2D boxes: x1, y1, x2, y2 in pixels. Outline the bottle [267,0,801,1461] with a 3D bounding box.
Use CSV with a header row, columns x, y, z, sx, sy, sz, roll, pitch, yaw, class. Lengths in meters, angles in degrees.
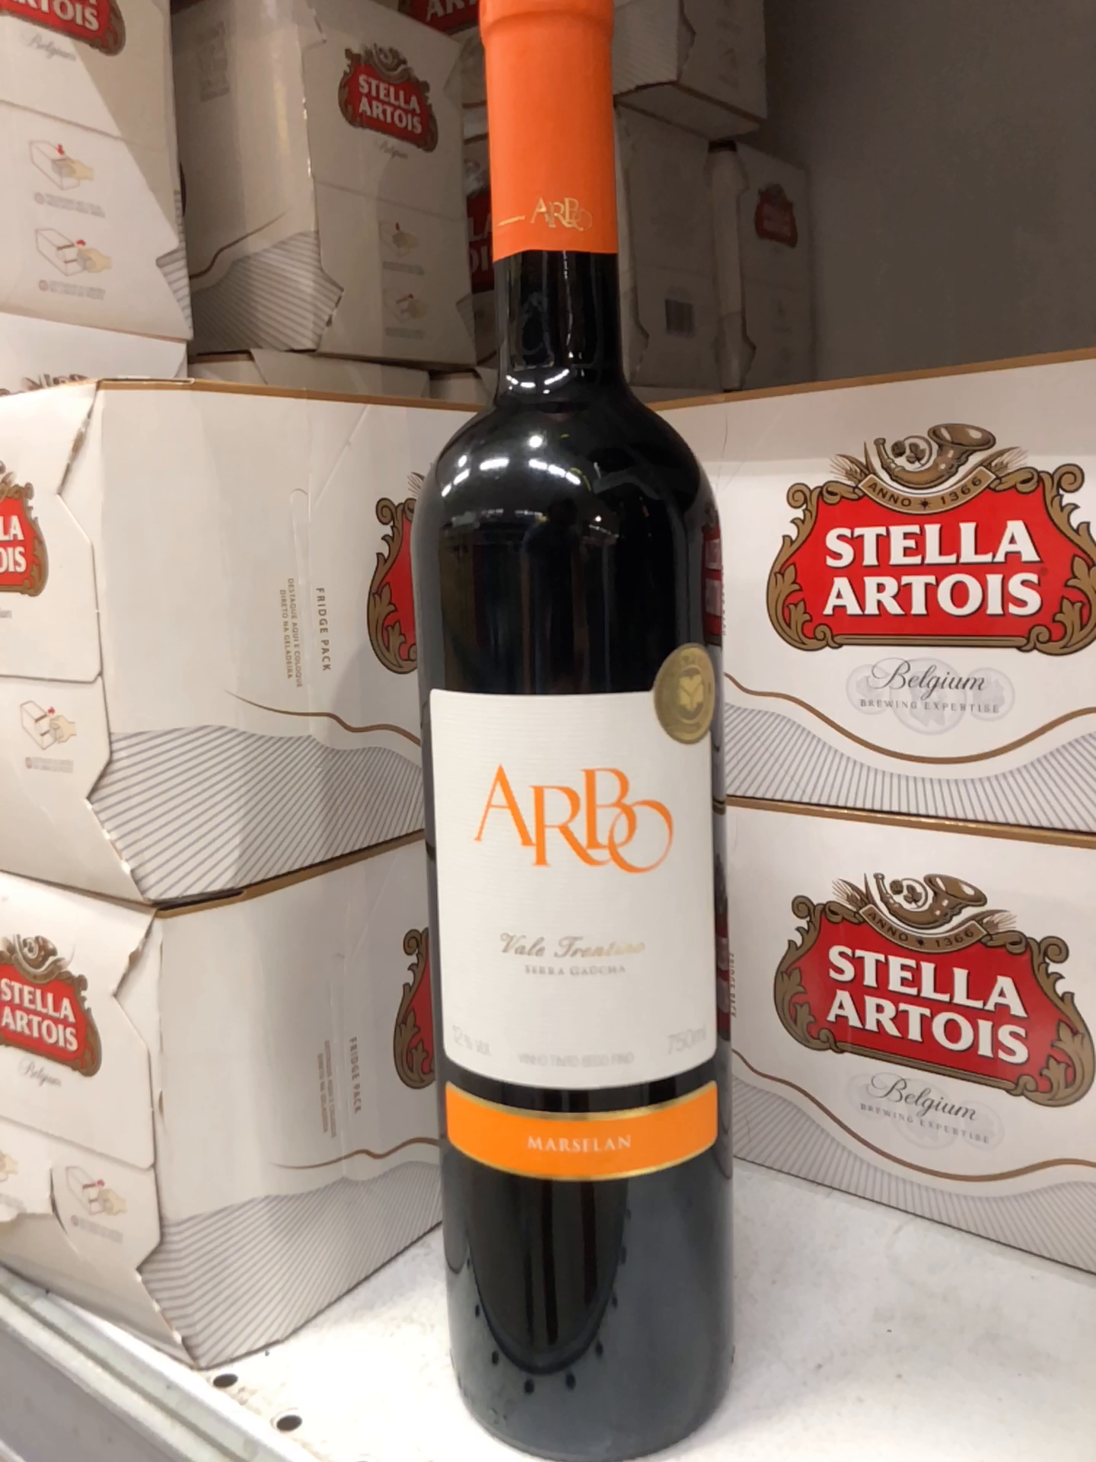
x,y,z,sx,sy,sz,roll,pitch,yaw,class
0.004,-0.001,0.258,0.080,0.309,0.070,-3,10,2,bottle
